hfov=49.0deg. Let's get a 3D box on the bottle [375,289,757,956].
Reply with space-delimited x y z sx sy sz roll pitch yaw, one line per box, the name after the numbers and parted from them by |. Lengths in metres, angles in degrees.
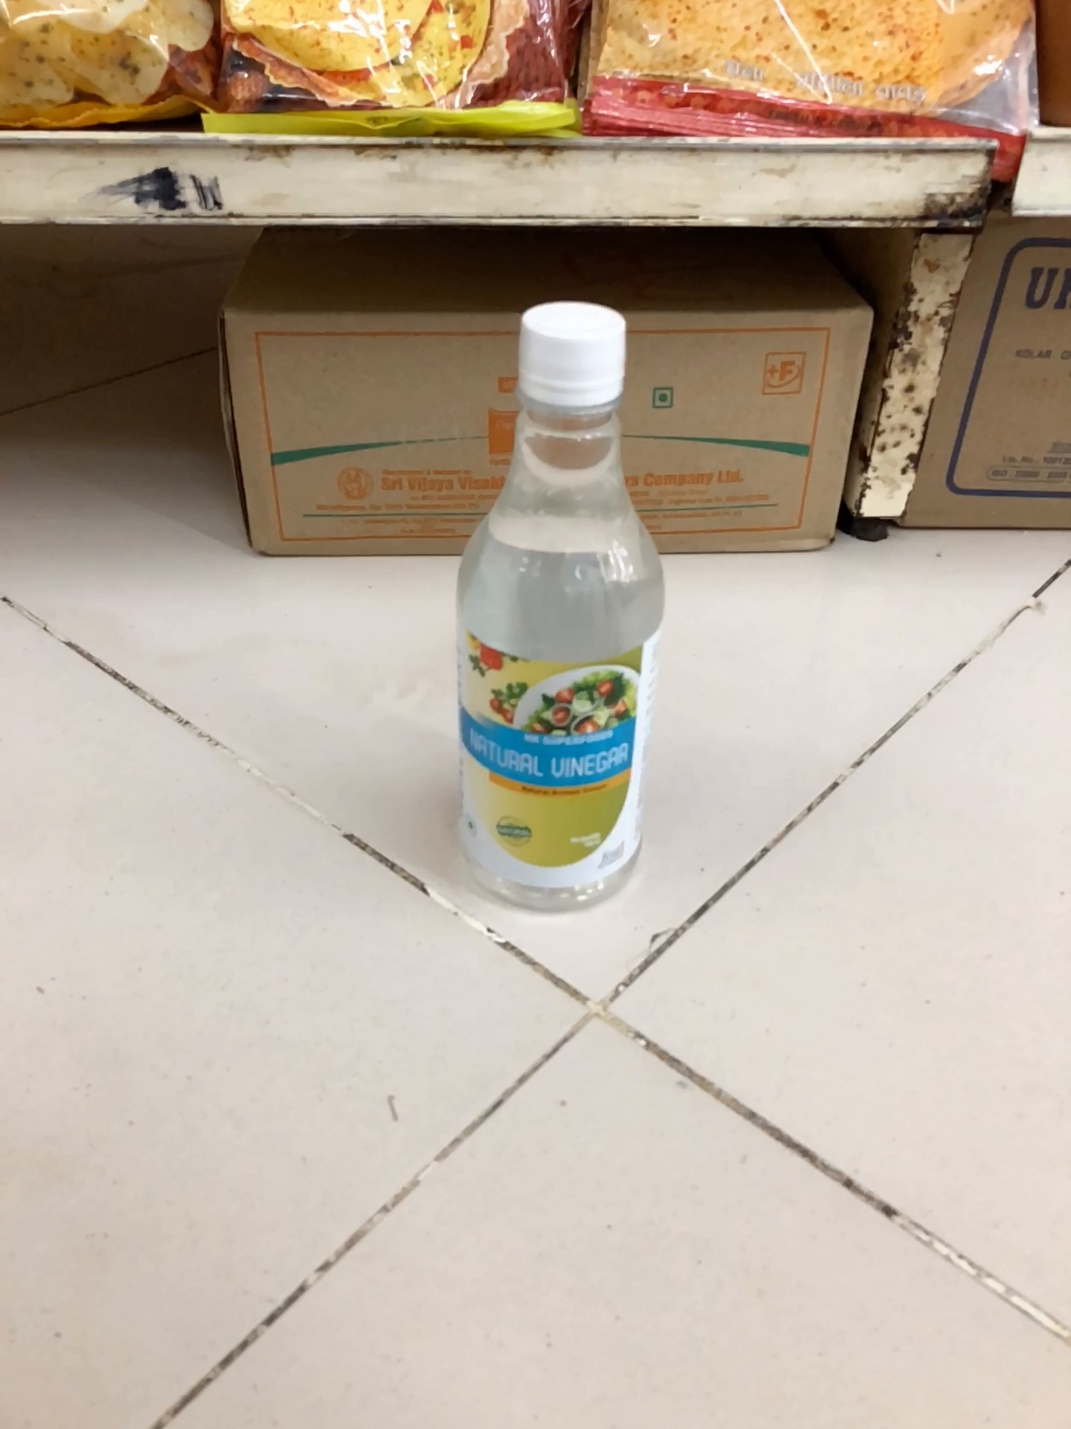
0.010 -0.029 0.410 0.090 0.199 0.091 1 36 -1 | bottle
